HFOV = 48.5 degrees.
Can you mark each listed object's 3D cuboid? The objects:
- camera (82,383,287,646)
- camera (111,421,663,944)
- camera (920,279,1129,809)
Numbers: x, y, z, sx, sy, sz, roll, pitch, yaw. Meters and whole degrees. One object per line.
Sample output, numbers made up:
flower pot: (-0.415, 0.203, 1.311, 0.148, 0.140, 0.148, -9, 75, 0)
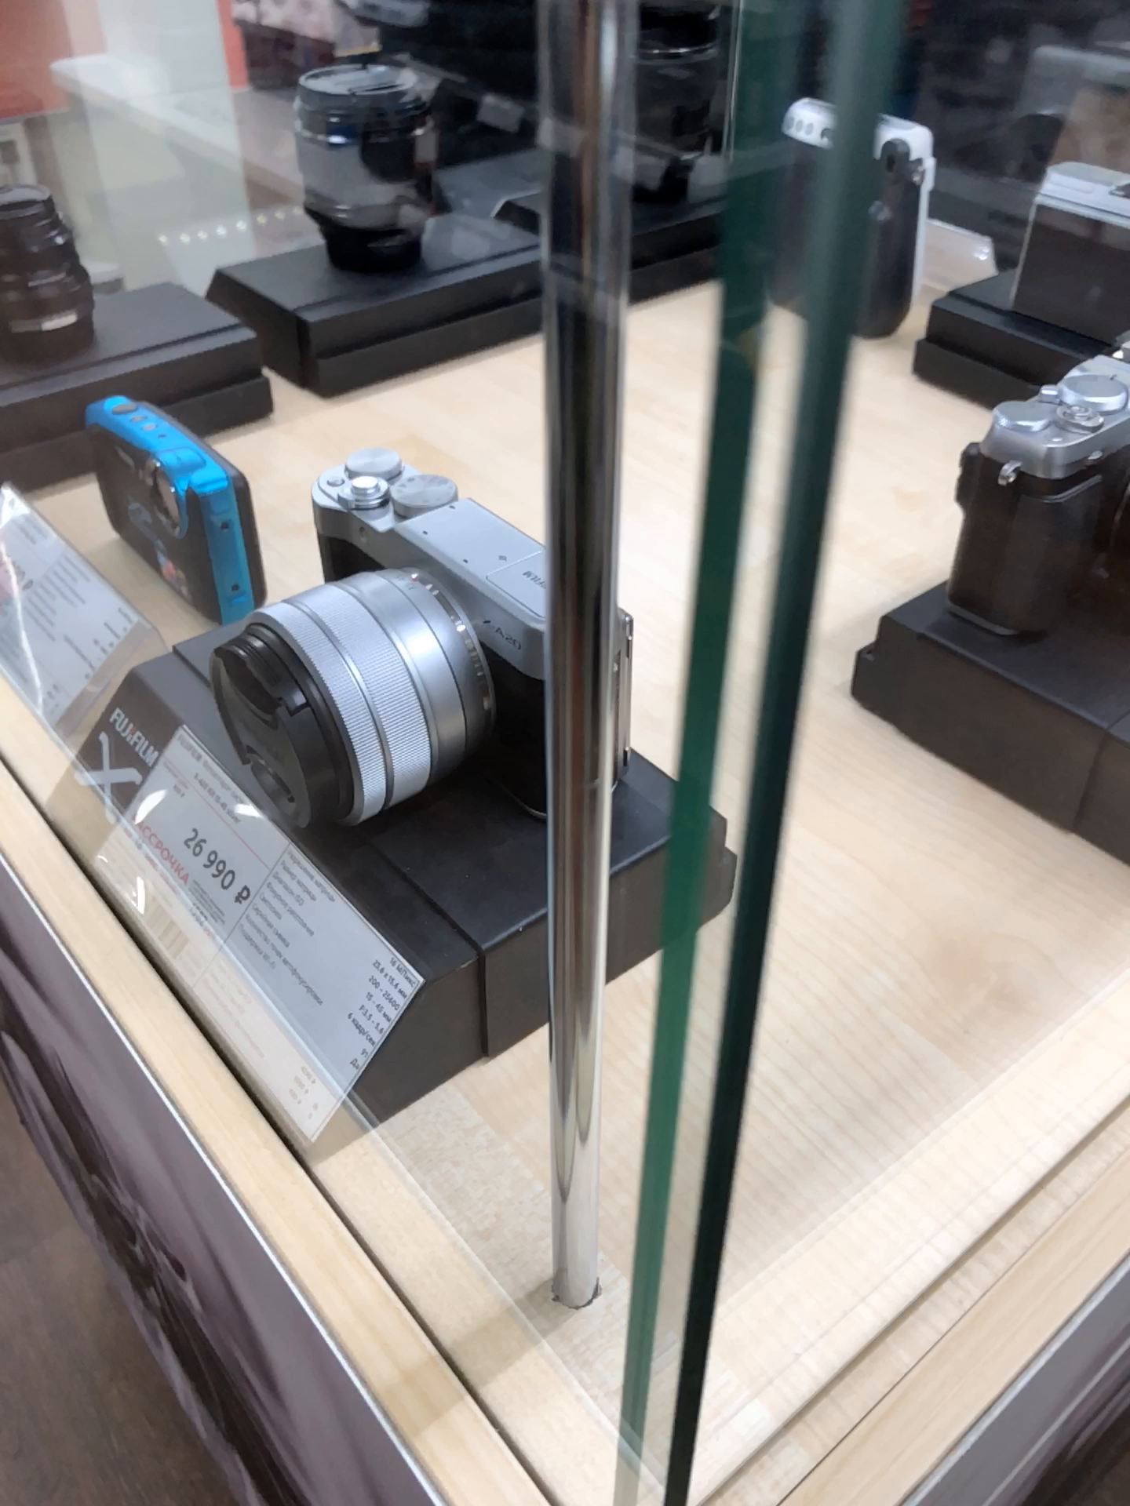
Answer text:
camera: (-0.153, -0.097, 0.502, 0.025, 0.064, 0.106, -27, 46, -29)
camera: (-0.049, -0.027, 0.349, 0.093, 0.070, 0.120, -27, 46, -30)
camera: (0.235, -0.083, 0.417, 0.188, 0.074, 0.130, -28, 47, -31)
